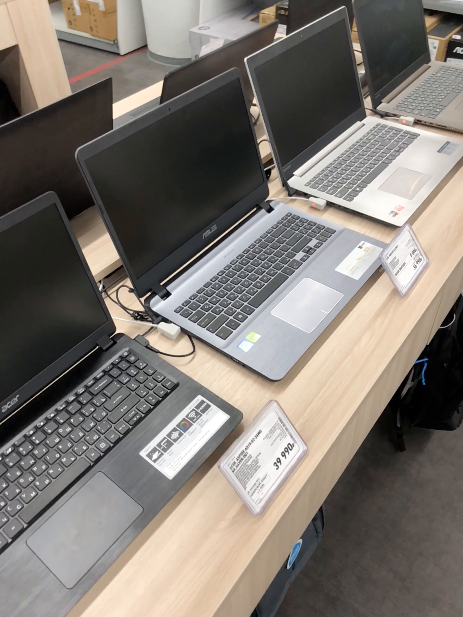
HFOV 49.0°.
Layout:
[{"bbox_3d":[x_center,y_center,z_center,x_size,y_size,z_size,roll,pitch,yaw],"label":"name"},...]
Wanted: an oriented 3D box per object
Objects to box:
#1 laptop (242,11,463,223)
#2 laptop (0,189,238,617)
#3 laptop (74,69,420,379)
[{"bbox_3d":[0.278,-0.400,1.013,0.332,0.220,0.371,27,51,24],"label":"laptop"},{"bbox_3d":[-0.208,0.091,0.537,0.292,0.222,0.333,29,52,27],"label":"laptop"},{"bbox_3d":[0.033,-0.154,0.768,0.329,0.226,0.346,28,52,26],"label":"laptop"}]
